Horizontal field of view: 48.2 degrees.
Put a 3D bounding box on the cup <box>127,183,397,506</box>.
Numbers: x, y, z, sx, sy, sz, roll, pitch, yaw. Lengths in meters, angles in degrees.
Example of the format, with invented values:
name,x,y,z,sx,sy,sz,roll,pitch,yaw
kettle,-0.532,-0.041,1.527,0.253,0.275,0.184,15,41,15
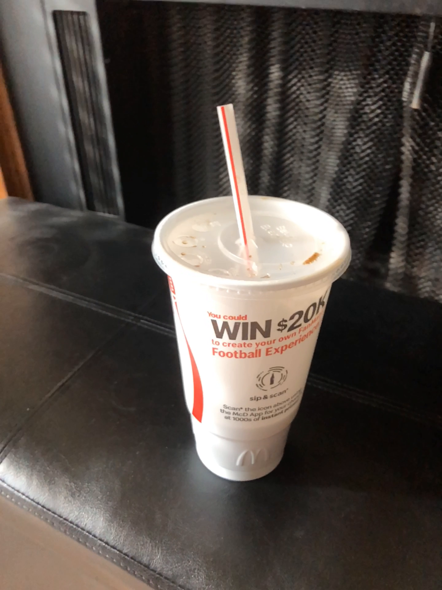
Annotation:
name,x,y,z,sx,sy,sz,roll,pitch,yaw
cup,0.012,0.027,0.303,0.120,0.150,0.110,0,35,0
